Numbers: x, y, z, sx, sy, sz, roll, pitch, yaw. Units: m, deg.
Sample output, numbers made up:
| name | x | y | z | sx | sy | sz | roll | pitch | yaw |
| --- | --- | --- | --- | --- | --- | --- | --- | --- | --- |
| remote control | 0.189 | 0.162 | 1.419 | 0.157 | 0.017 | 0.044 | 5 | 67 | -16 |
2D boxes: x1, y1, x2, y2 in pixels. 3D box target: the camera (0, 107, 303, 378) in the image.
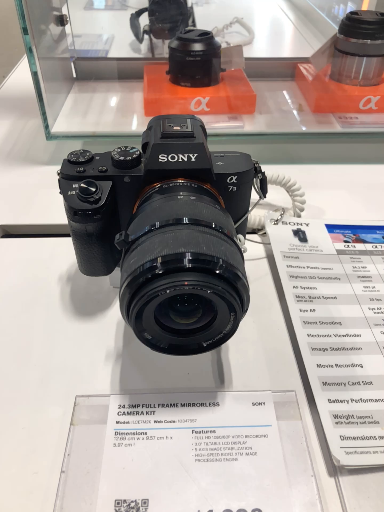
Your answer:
| name | x | y | z | sx | sy | sz | roll | pitch | yaw |
| --- | --- | --- | --- | --- | --- | --- | --- | --- | --- |
| camera | -0.023 | -0.017 | 0.259 | 0.130 | 0.089 | 0.141 | -3 | 42 | -3 |
